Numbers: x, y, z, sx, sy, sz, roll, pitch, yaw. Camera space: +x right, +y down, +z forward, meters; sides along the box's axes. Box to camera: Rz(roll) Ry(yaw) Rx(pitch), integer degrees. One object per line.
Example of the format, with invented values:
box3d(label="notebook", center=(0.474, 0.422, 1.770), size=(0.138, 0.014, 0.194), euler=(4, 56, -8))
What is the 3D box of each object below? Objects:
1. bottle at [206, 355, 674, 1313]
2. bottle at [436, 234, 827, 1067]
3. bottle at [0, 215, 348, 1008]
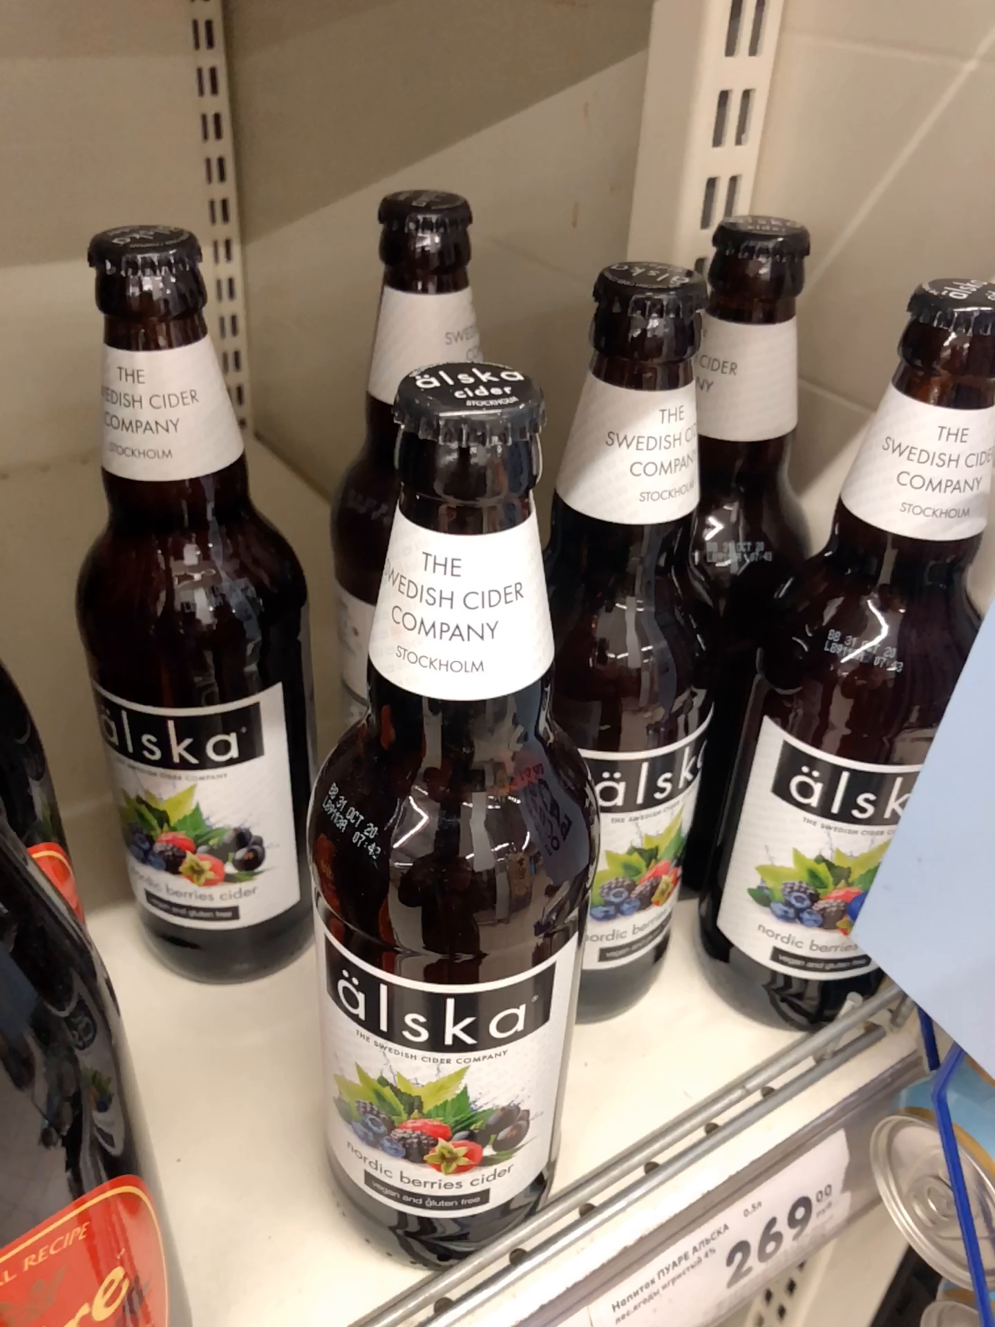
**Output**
box3d(label="bottle", center=(-0.011, 0.054, 0.254), size=(0.070, 0.229, 0.063), euler=(5, 34, 3))
box3d(label="bottle", center=(0.029, 0.007, 0.339), size=(0.070, 0.243, 0.063), euler=(-25, 42, -34))
box3d(label="bottle", center=(-0.094, -0.004, 0.344), size=(0.075, 0.235, 0.077), euler=(2, 34, -1))
